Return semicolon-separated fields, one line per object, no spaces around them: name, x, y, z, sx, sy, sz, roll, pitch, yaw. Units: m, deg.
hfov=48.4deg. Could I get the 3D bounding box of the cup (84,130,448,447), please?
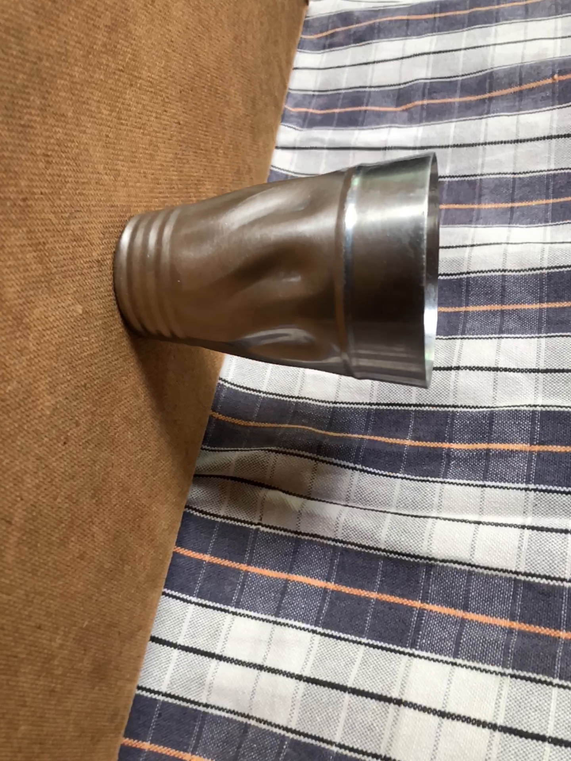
cup;0.004;-0.035;0.225;0.080;0.100;0.080;2;90;-75
